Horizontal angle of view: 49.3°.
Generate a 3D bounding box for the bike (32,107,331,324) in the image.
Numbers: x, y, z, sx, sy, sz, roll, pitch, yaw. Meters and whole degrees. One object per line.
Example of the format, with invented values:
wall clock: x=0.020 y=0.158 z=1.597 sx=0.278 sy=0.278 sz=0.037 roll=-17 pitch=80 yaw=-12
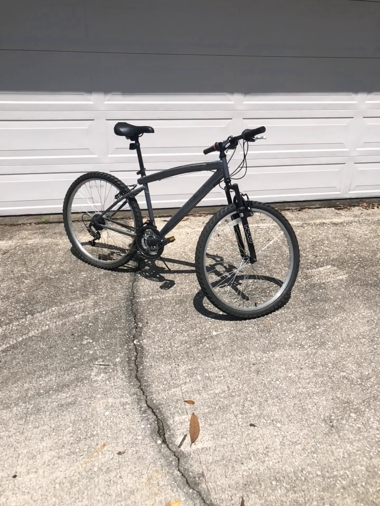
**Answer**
bike: x=-0.032 y=-0.317 z=2.699 sx=1.531 sy=0.980 sz=0.682 roll=13 pitch=27 yaw=17
